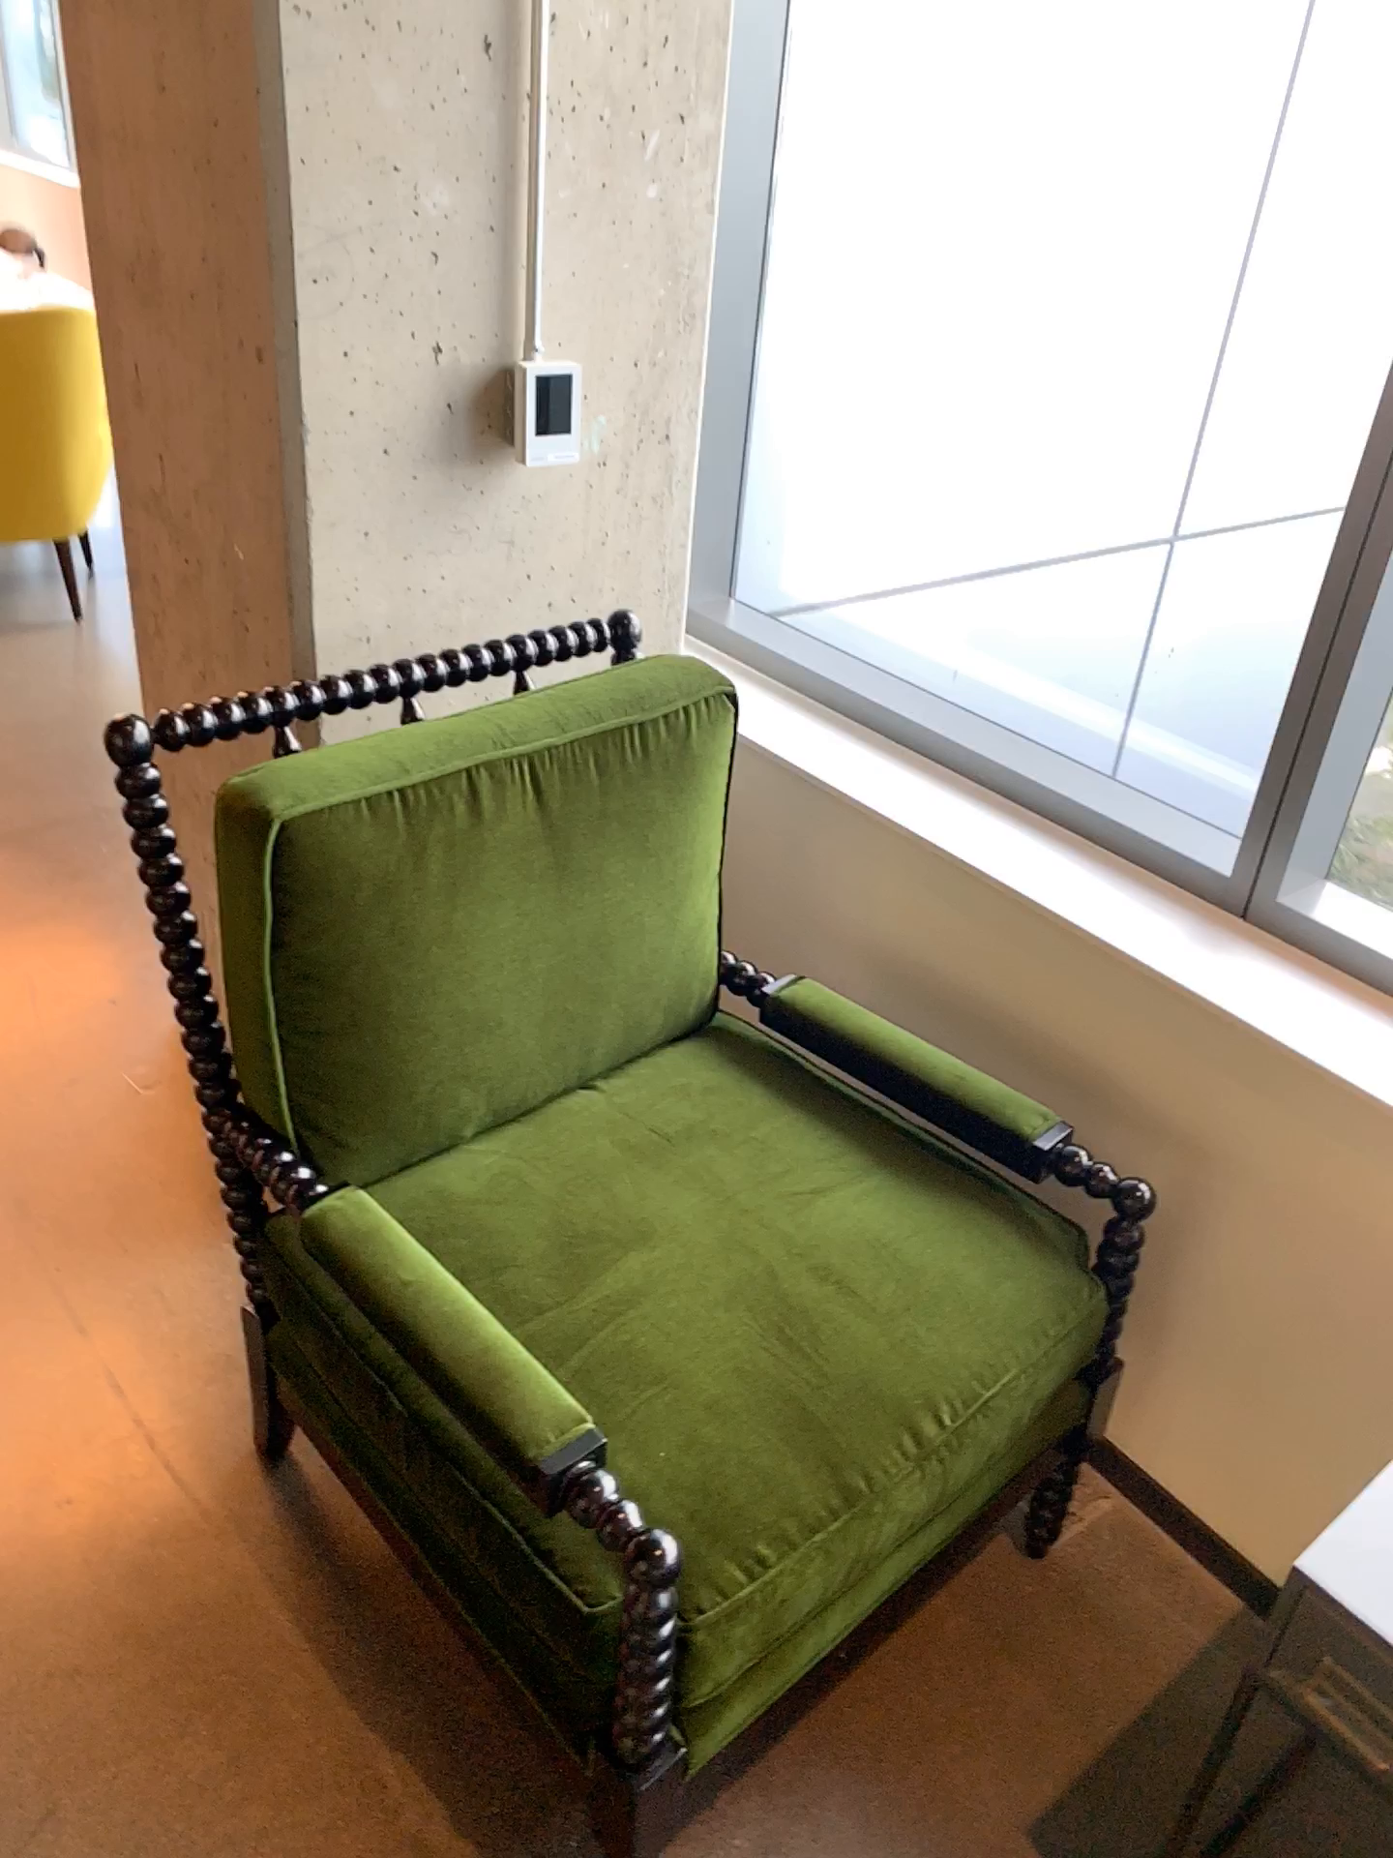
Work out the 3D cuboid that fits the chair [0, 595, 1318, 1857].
[{"bbox_3d":[-0.077,0.281,1.556,0.842,0.925,0.913,-23,41,-39],"label":"chair"}]
